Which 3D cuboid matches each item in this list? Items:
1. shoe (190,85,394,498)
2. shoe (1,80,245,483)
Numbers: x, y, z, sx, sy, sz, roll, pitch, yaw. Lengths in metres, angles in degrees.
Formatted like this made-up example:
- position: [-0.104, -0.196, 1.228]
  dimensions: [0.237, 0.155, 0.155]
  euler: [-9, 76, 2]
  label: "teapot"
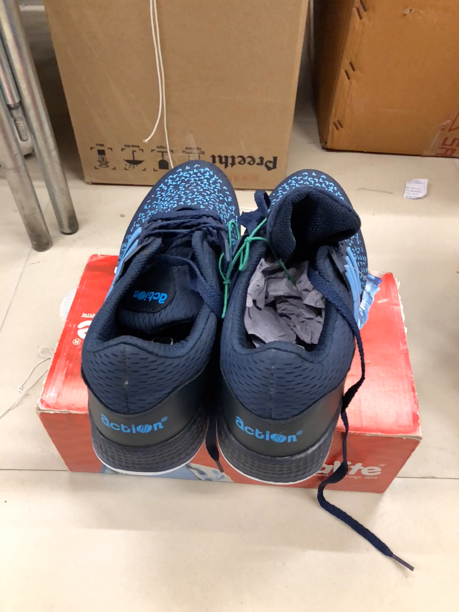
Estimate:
- position: [0.049, -0.025, 0.364]
  dimensions: [0.093, 0.132, 0.264]
  euler: [8, 51, 5]
  label: "shoe"
- position: [-0.047, -0.031, 0.367]
  dimensions: [0.101, 0.133, 0.264]
  euler: [3, 51, 1]
  label: "shoe"
